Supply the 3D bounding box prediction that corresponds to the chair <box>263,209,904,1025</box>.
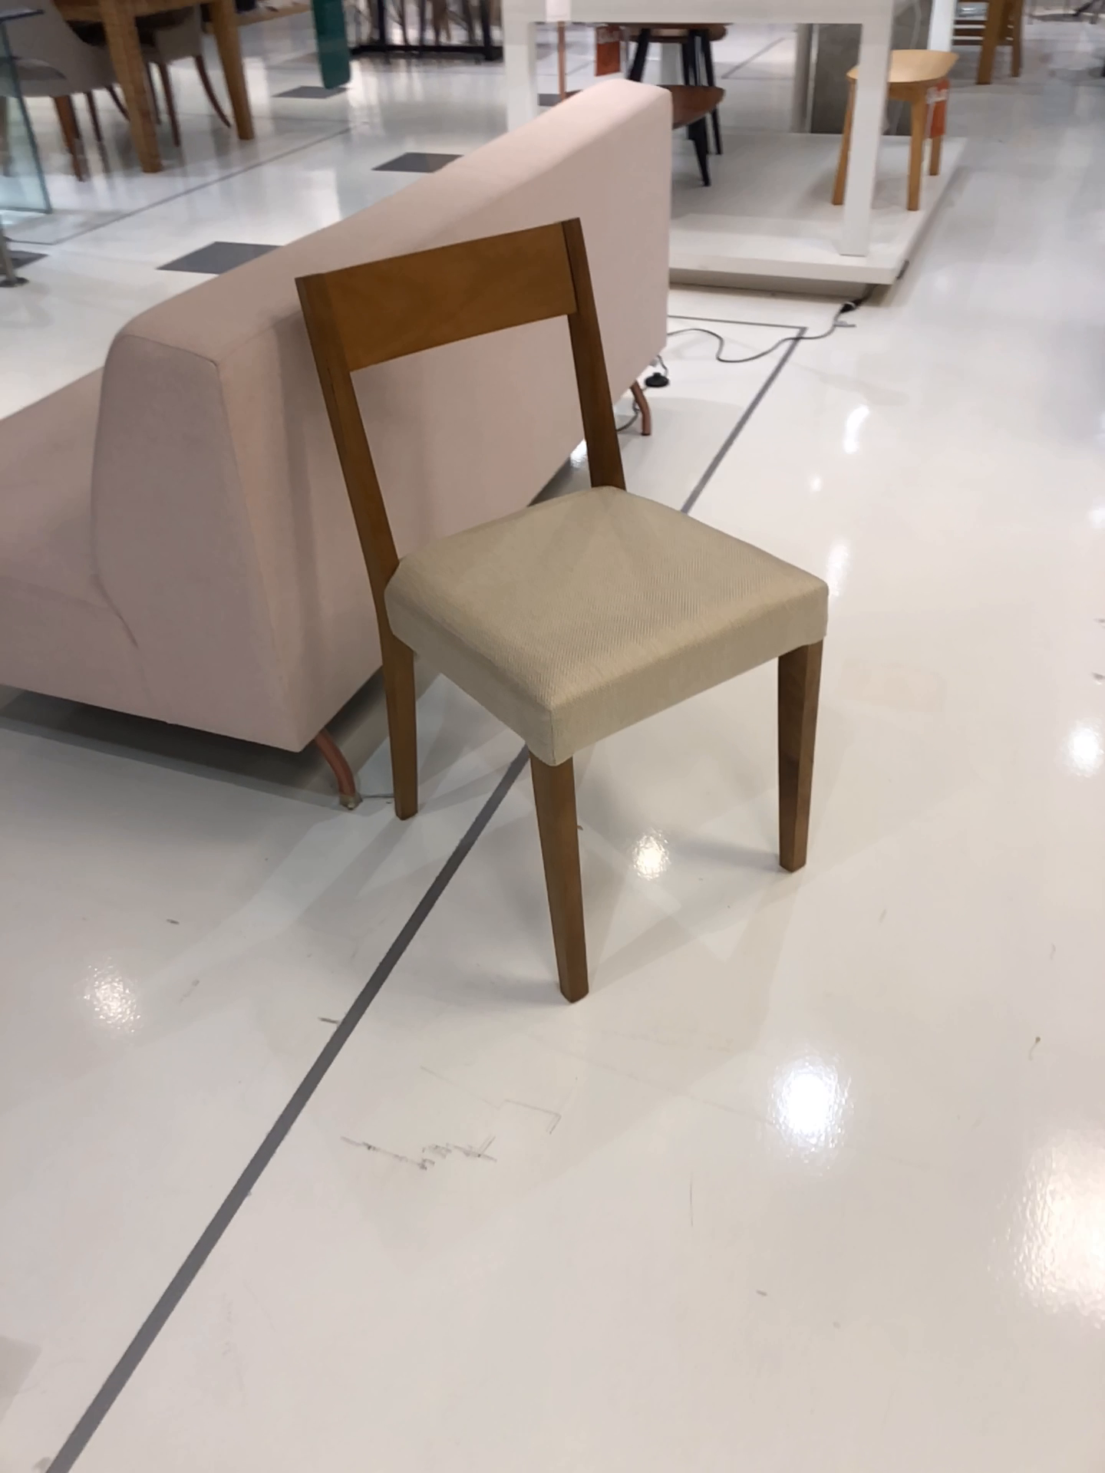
[{"bbox_3d":[0.026,-0.185,1.636,0.492,0.813,0.593,-23,41,-25],"label":"chair"}]
